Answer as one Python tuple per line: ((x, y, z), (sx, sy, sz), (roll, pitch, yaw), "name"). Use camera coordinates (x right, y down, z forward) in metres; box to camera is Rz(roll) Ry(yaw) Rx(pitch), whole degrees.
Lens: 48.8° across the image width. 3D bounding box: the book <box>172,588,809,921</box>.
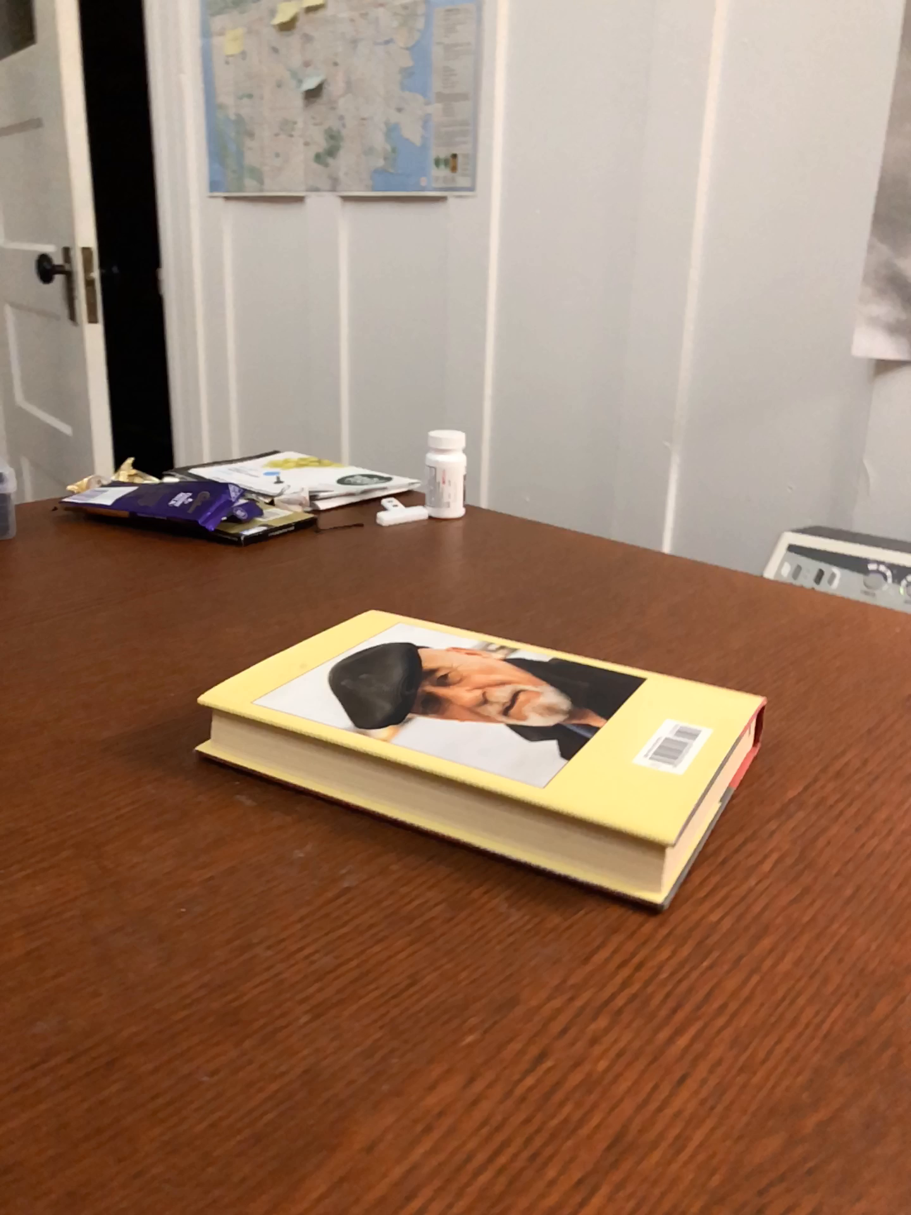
((0.024, 0.050, 0.492), (0.250, 0.030, 0.191), (11, 22, 27), "book")
